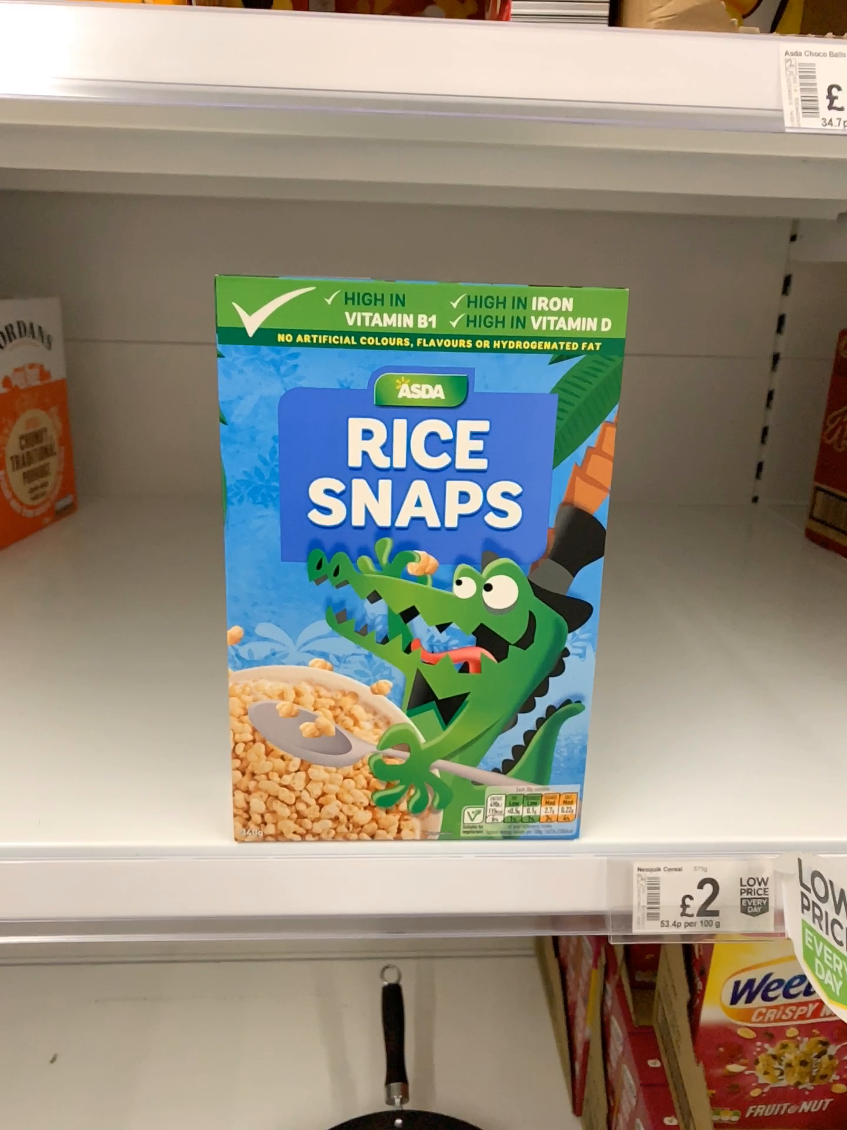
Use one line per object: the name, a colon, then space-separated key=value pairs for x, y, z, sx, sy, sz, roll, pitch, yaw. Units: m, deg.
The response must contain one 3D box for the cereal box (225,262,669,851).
cereal box: x=0.005 y=0.000 z=0.451 sx=0.190 sy=0.288 sz=0.070 roll=0 pitch=18 yaw=-5
